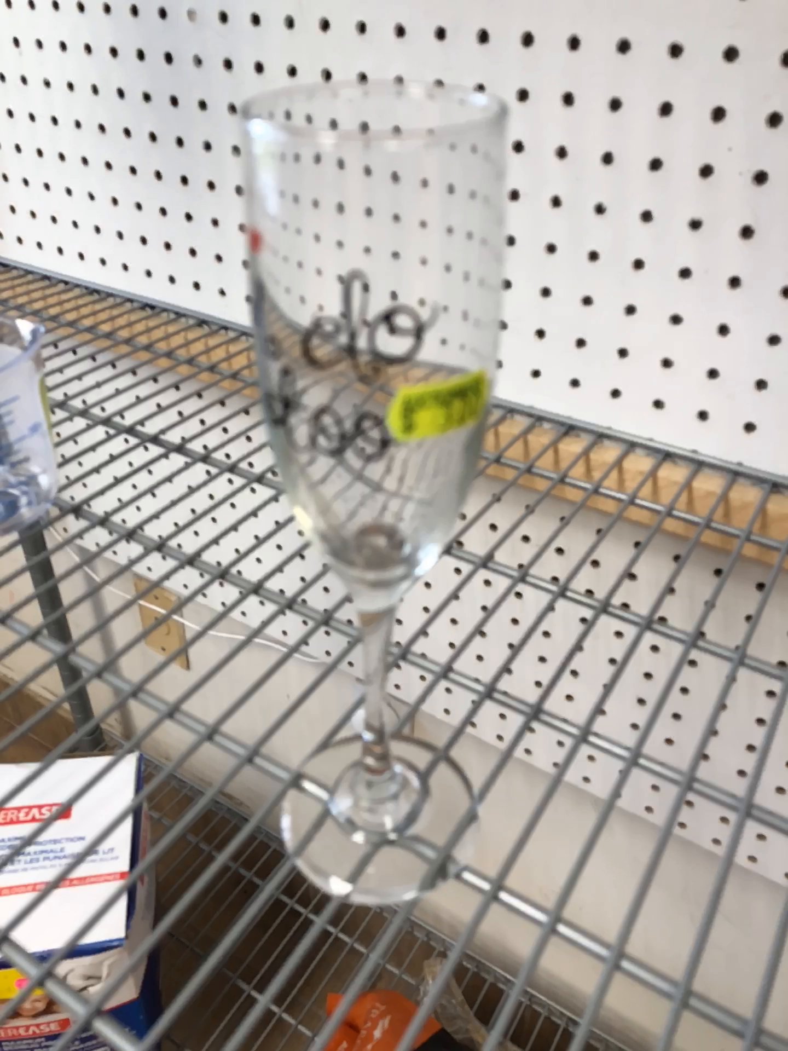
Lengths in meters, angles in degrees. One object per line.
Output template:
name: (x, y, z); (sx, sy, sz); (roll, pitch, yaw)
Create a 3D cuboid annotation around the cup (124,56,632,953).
cup: (0.000, 0.006, 0.217); (0.070, 0.209, 0.070); (1, 35, -1)
